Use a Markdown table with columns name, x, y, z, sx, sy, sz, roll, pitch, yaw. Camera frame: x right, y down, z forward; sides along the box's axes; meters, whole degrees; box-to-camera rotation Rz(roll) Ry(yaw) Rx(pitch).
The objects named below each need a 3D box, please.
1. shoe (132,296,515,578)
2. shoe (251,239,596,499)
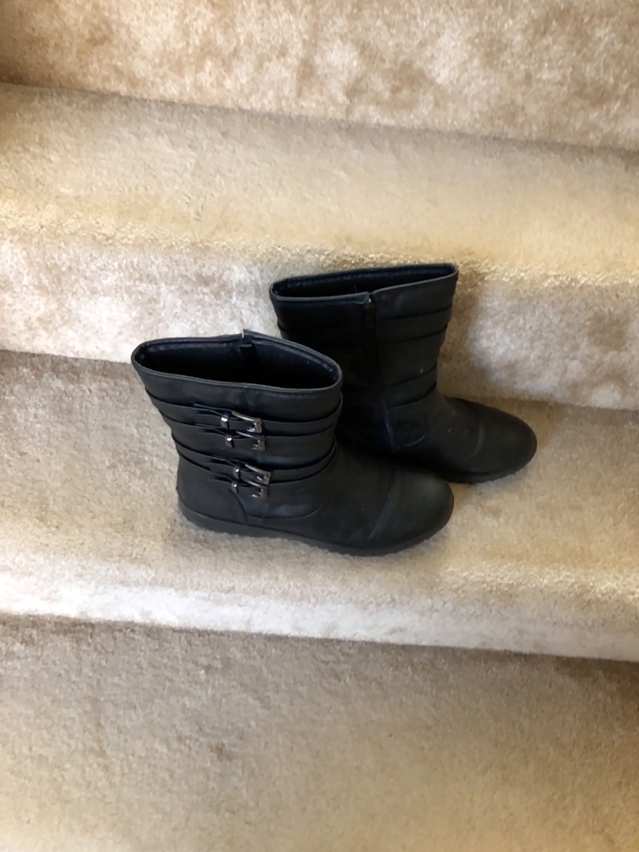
| name | x | y | z | sx | sy | sz | roll | pitch | yaw |
| --- | --- | --- | --- | --- | --- | --- | --- | --- | --- |
| shoe | 0.000 | 0.018 | 0.599 | 0.270 | 0.199 | 0.101 | 9 | 52 | 0 |
| shoe | 0.085 | -0.046 | 0.671 | 0.270 | 0.219 | 0.101 | 6 | 52 | 4 |
